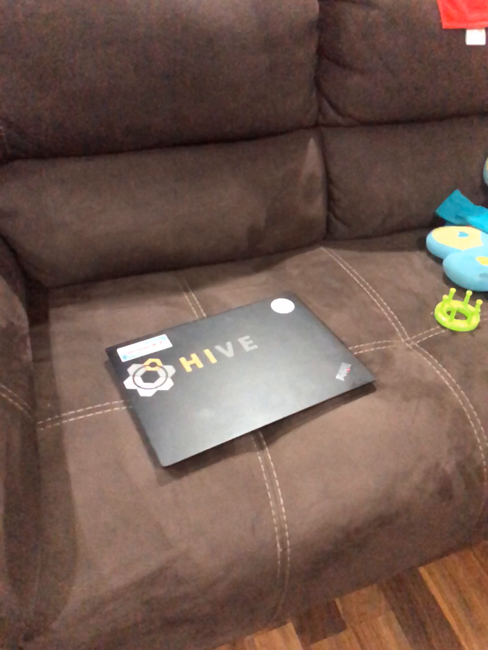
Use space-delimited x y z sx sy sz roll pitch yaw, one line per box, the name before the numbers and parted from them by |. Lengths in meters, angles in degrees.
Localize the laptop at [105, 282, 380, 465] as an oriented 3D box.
laptop | -0.009 0.049 0.782 0.329 0.019 0.236 -18 44 -21
